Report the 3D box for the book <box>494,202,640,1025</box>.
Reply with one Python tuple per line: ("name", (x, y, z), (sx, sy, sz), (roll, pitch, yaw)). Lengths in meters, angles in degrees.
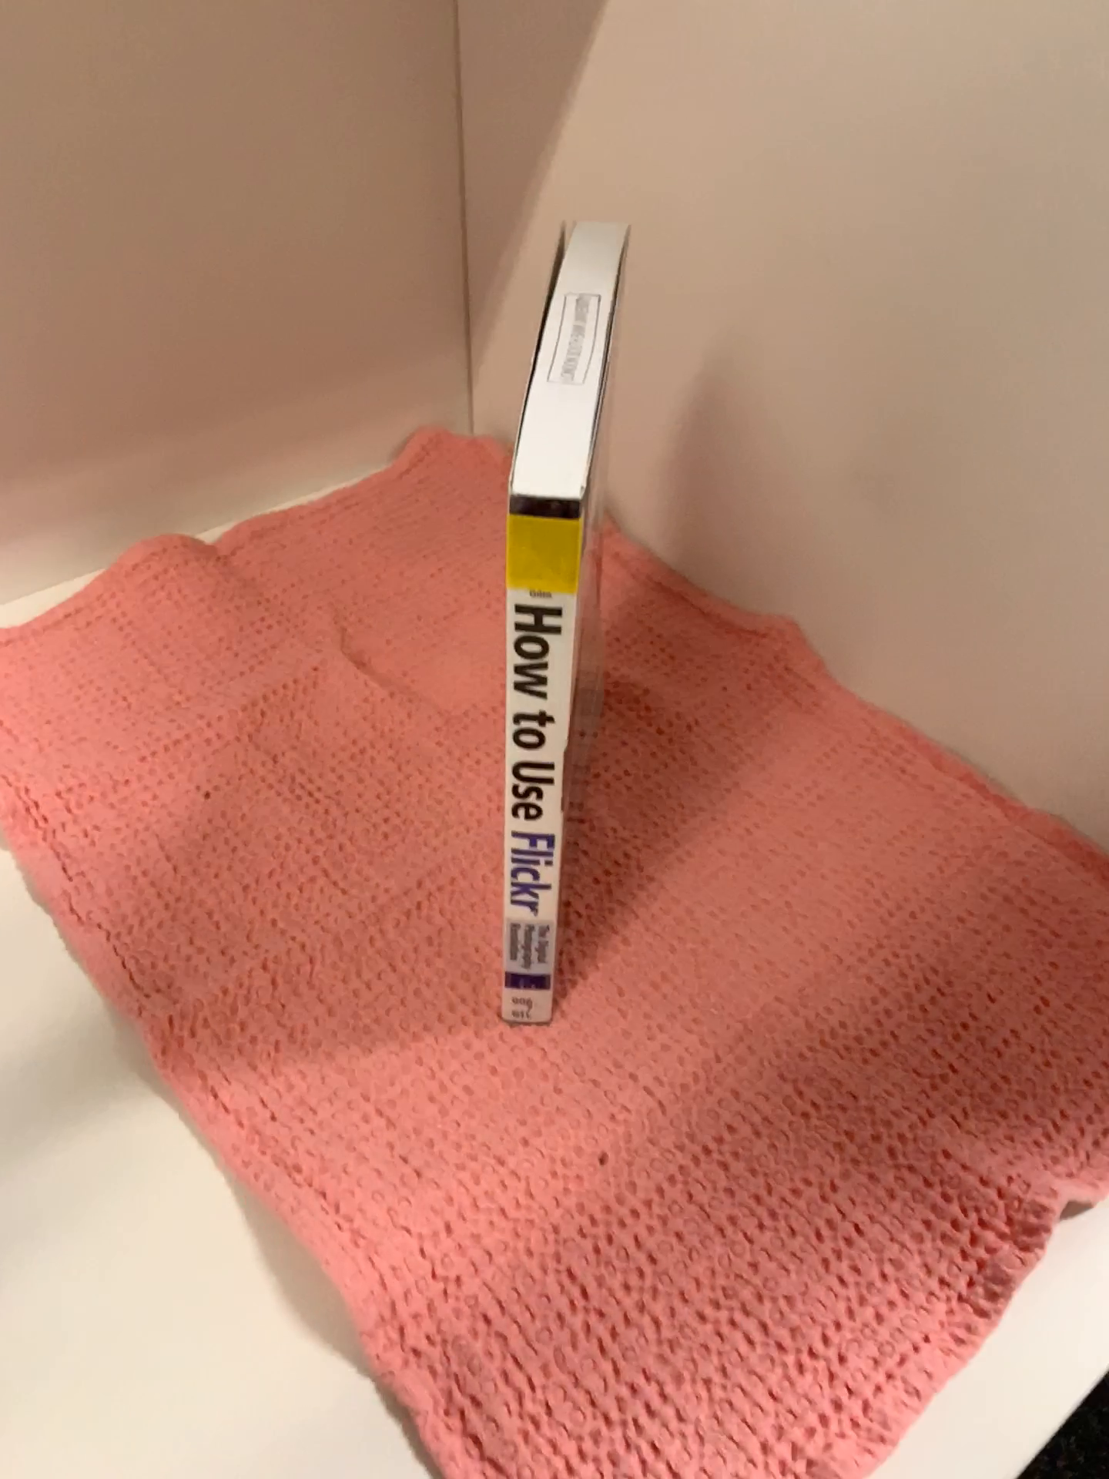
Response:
("book", (0.005, -0.043, 0.420), (0.025, 0.228, 0.192), (5, 43, 3))
